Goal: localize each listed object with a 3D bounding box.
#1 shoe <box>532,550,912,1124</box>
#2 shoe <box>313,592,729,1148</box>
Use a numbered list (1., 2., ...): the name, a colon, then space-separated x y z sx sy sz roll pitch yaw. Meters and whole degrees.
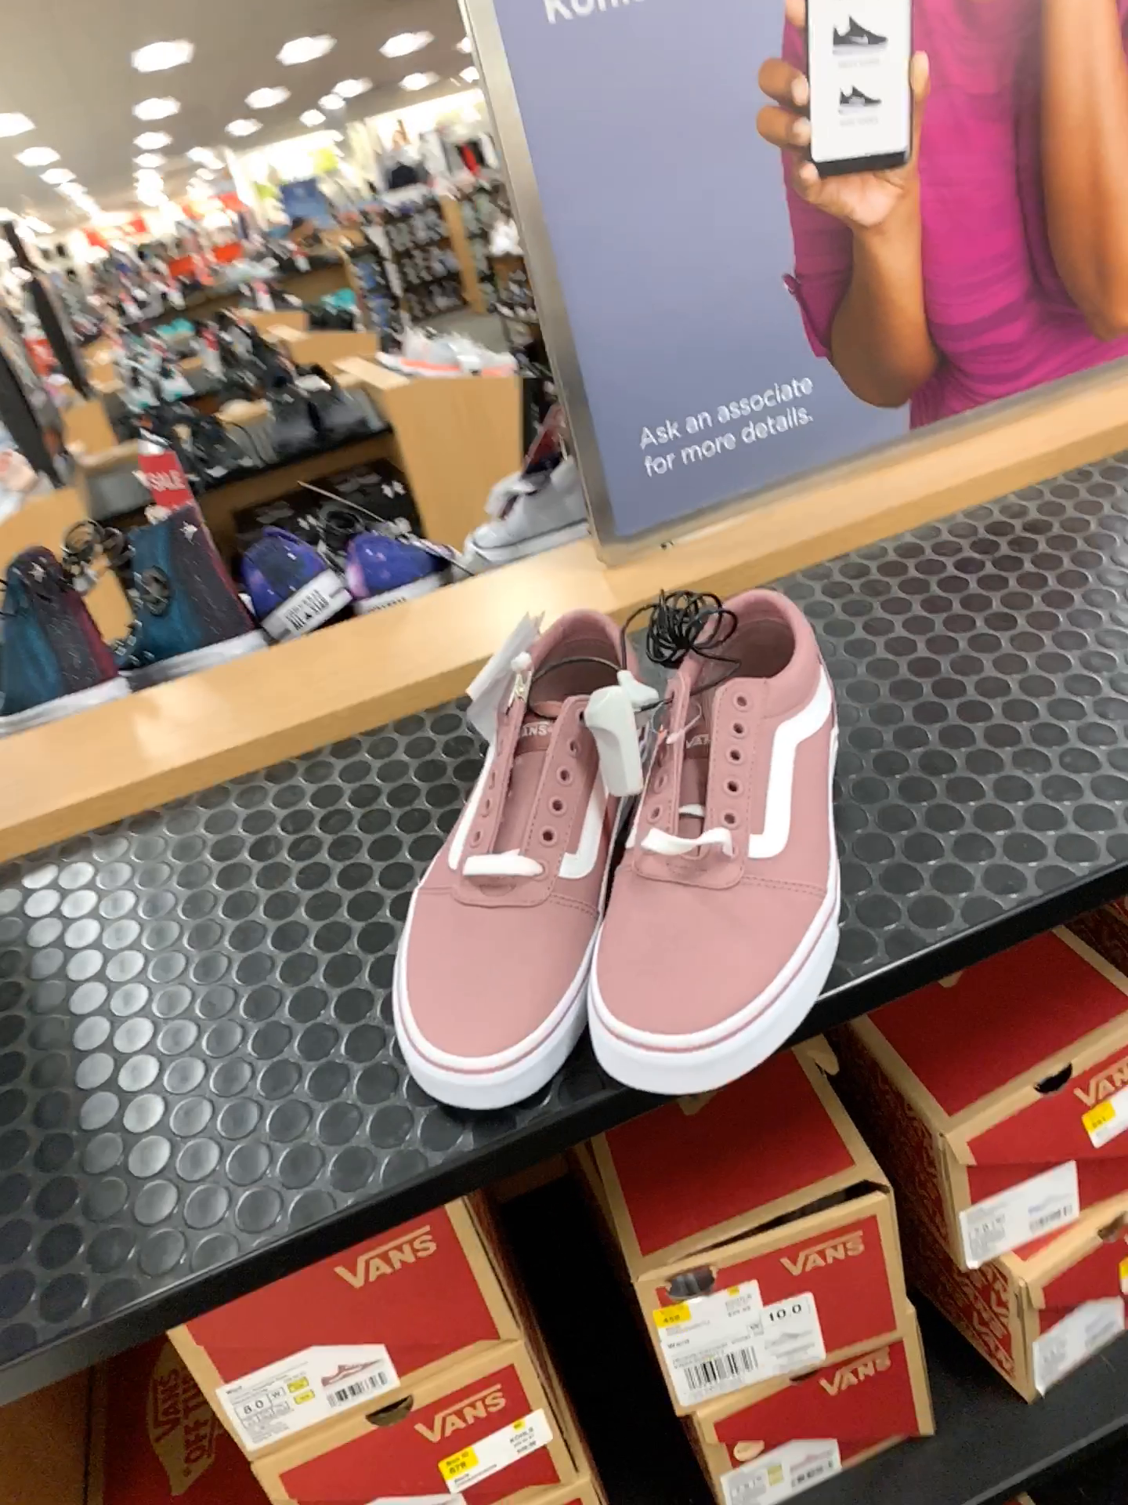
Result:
1. shoe: 0.089 0.022 0.526 0.100 0.099 0.261 -2 38 25
2. shoe: -0.002 0.040 0.548 0.100 0.099 0.261 -4 37 23
